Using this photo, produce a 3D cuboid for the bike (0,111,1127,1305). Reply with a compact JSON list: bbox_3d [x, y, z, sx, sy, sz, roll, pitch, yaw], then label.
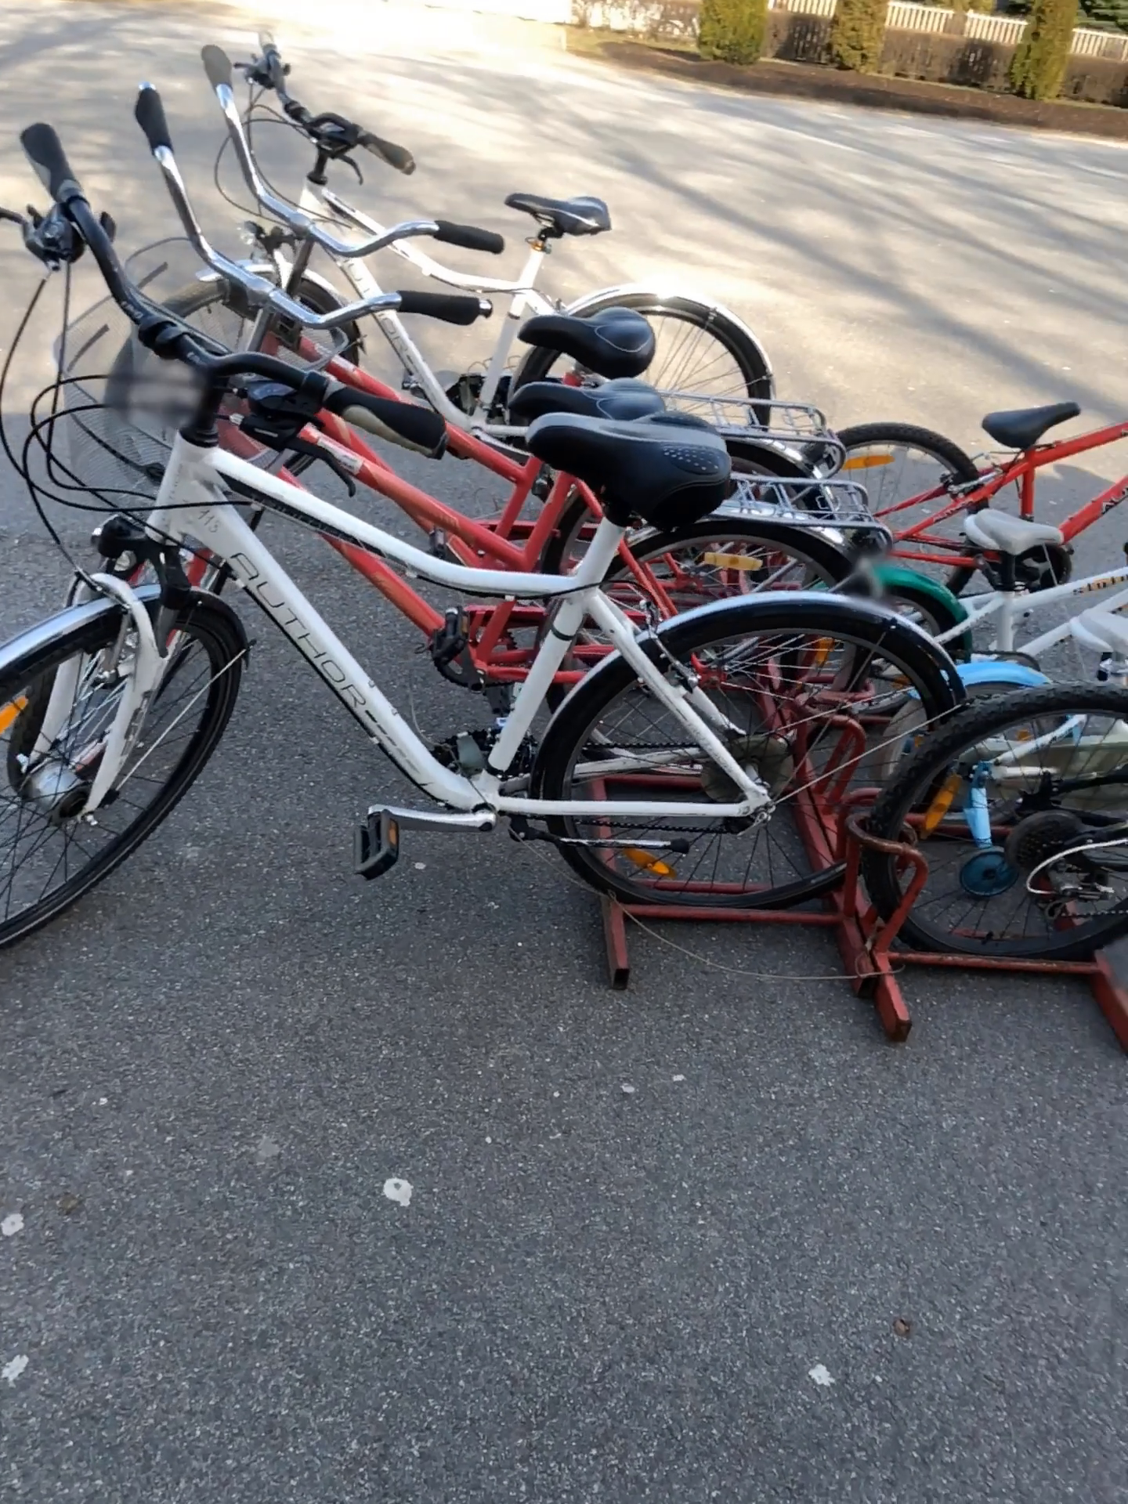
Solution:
[{"bbox_3d":[-0.070,-0.081,1.624,1.601,1.163,0.622,-4,34,-19],"label":"bike"}]
